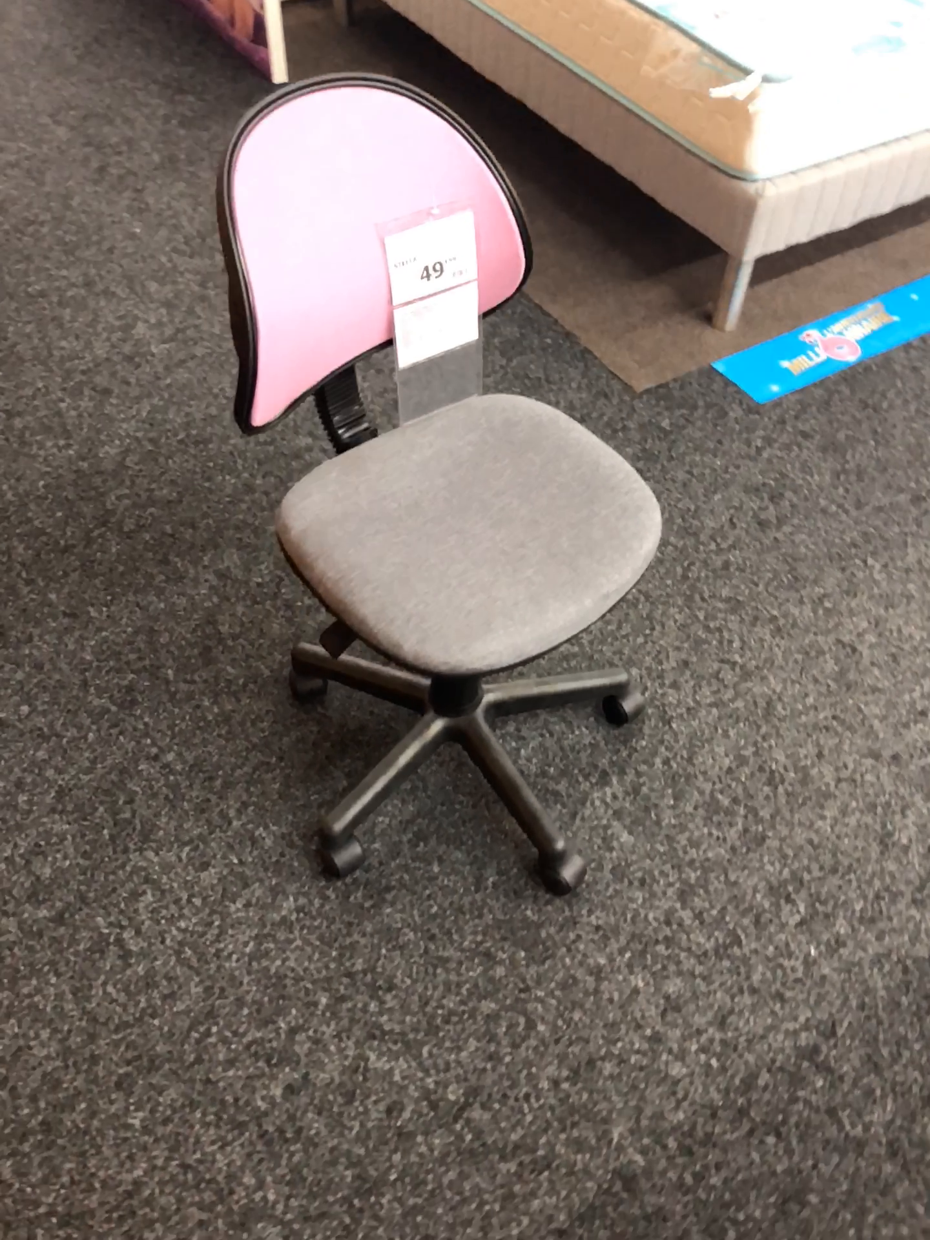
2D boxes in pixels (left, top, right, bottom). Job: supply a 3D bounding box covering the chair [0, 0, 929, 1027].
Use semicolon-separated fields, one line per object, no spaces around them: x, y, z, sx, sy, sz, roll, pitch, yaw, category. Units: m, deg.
-0.004;-0.114;1.129;0.600;0.776;0.603;34;57;24;chair
